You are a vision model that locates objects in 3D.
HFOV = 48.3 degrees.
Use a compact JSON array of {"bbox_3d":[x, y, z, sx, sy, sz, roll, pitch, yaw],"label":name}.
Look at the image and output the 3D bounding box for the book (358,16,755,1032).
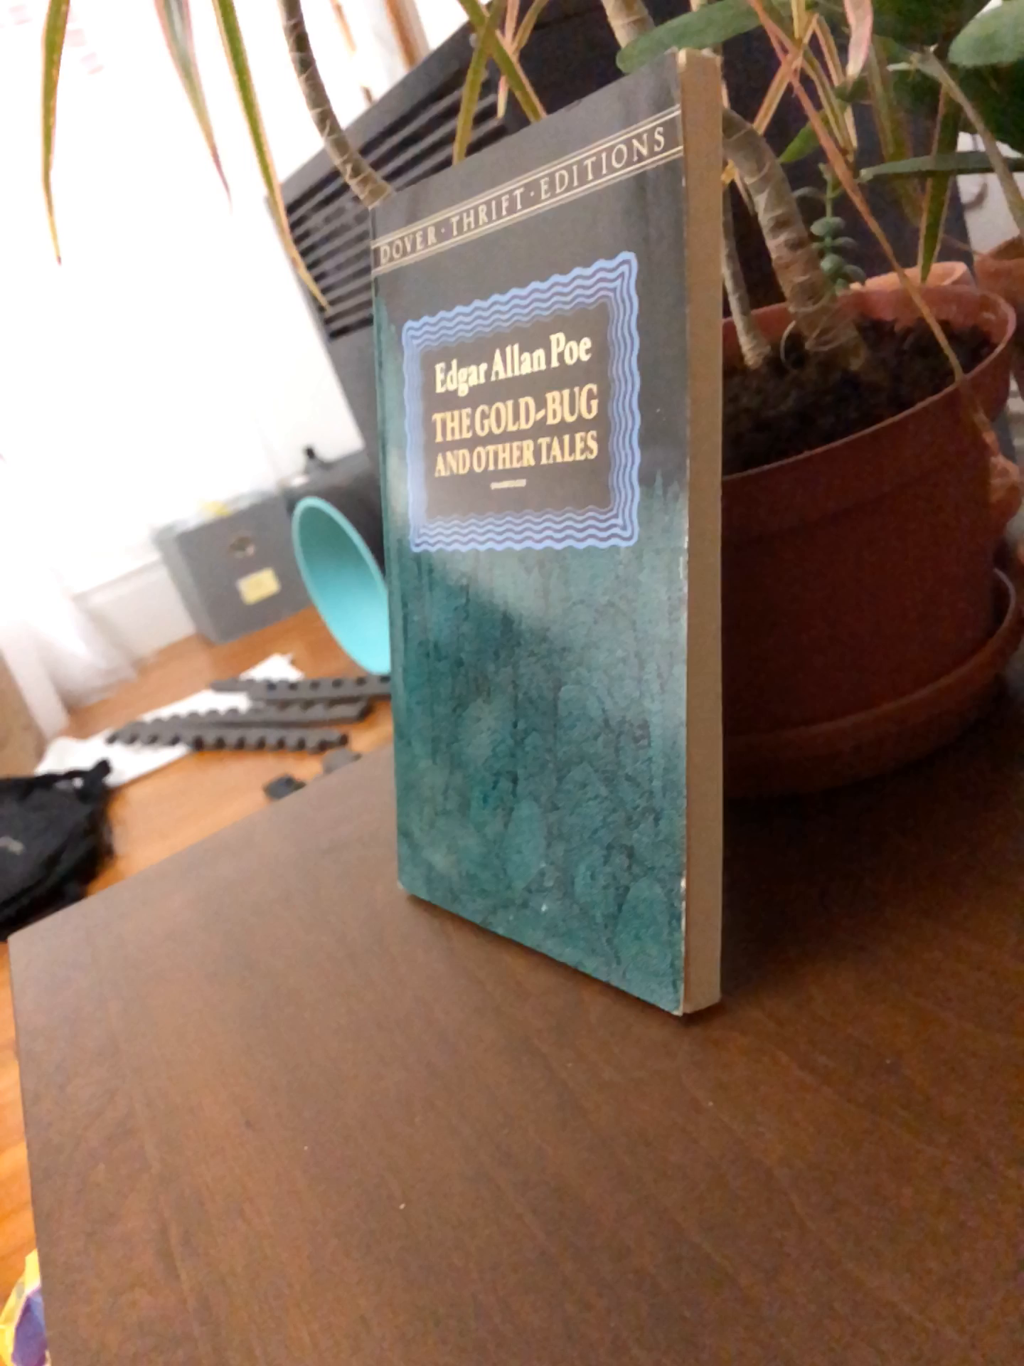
[{"bbox_3d":[0.003,-0.035,0.300,0.020,0.210,0.140,-4,7,-35],"label":"book"}]
